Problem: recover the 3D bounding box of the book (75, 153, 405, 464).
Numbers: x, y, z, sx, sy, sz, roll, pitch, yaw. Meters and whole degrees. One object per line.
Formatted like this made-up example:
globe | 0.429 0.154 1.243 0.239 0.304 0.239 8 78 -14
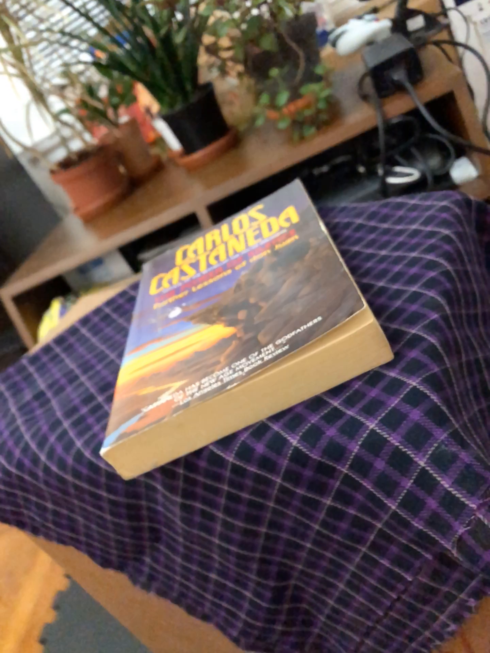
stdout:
book | -0.012 -0.032 0.331 0.150 0.020 0.221 -26 29 11
